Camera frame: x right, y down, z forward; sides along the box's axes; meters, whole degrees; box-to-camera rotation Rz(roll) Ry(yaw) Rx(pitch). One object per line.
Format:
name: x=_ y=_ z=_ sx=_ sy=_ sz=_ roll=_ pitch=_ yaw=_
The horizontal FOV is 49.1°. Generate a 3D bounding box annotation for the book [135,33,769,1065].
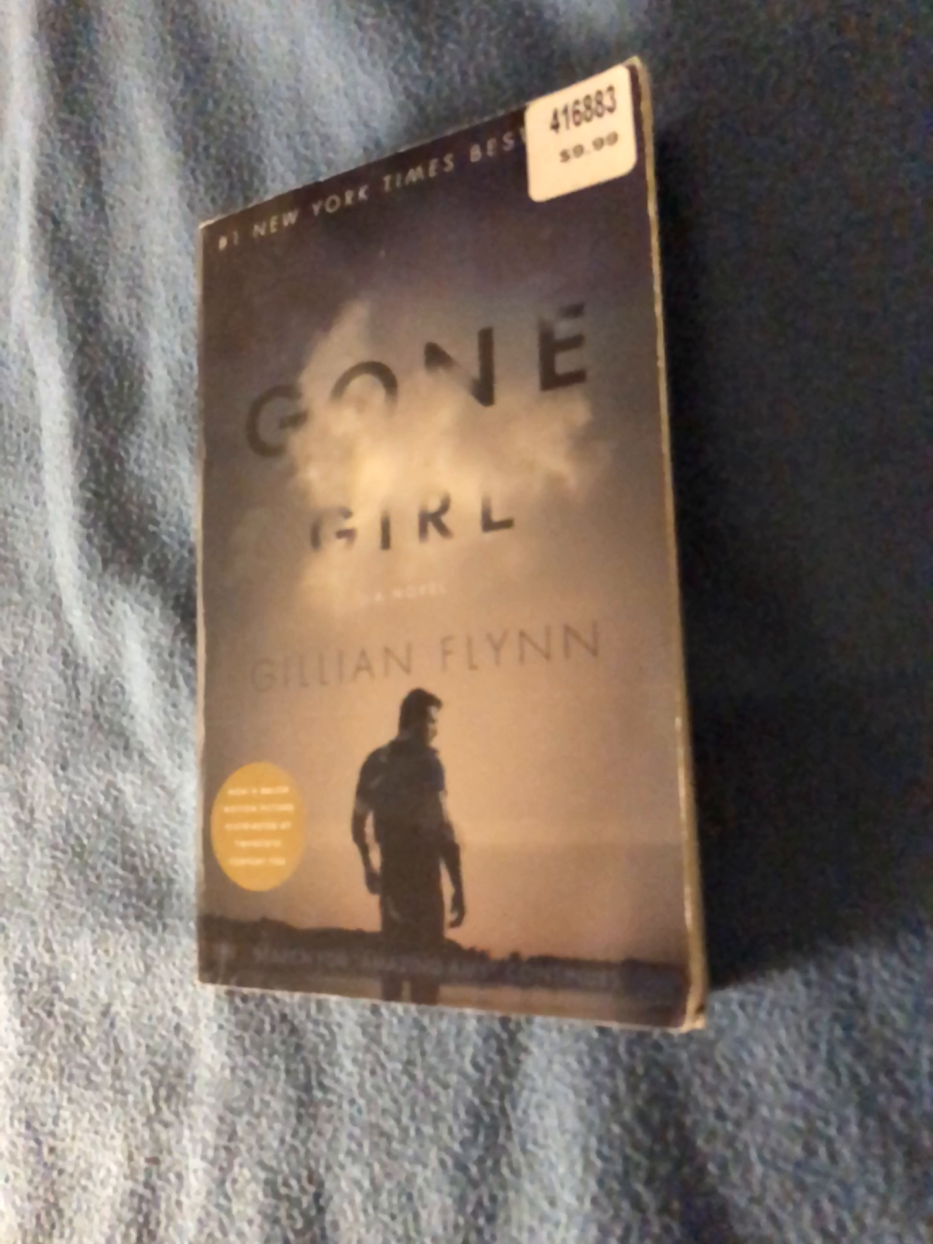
book: x=-0.010 y=-0.013 z=0.244 sx=0.140 sy=0.040 sz=0.200 roll=-6 pitch=80 yaw=28
